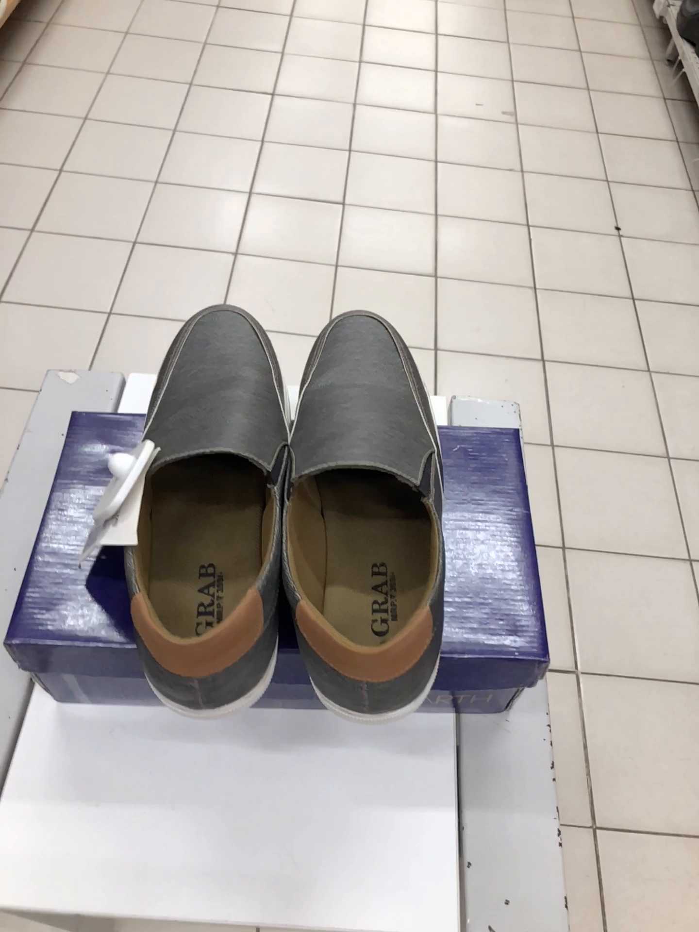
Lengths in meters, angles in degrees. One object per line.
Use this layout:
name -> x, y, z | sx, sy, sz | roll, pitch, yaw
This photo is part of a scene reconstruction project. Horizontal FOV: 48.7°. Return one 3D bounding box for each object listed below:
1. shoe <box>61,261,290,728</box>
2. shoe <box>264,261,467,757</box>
shoe -> -0.087, 0.006, 0.468 | 0.100, 0.099, 0.271 | 0, 54, -4
shoe -> 0.011, 0.016, 0.518 | 0.100, 0.119, 0.312 | 4, 55, -1
